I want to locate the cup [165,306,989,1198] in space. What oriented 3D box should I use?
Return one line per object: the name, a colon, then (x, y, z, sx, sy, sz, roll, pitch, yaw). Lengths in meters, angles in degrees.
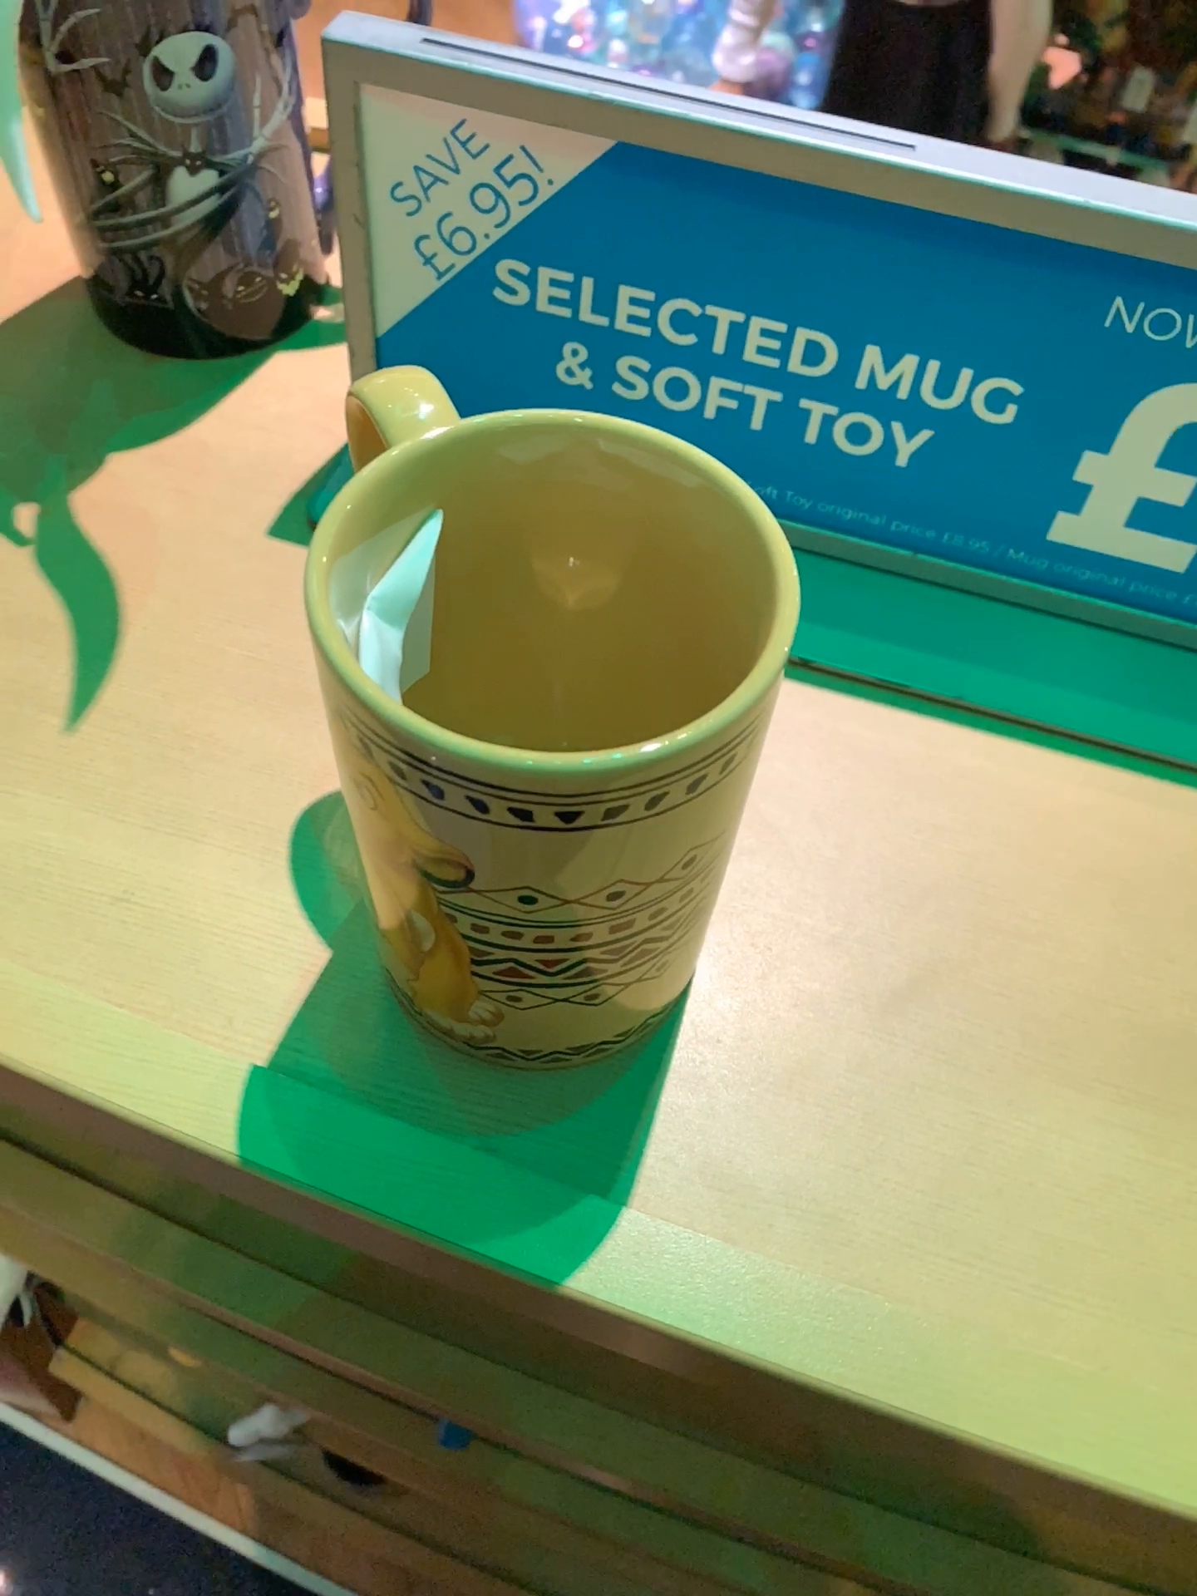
cup: (-0.013, -0.010, 0.270, 0.100, 0.121, 0.119, -25, 61, -24)
